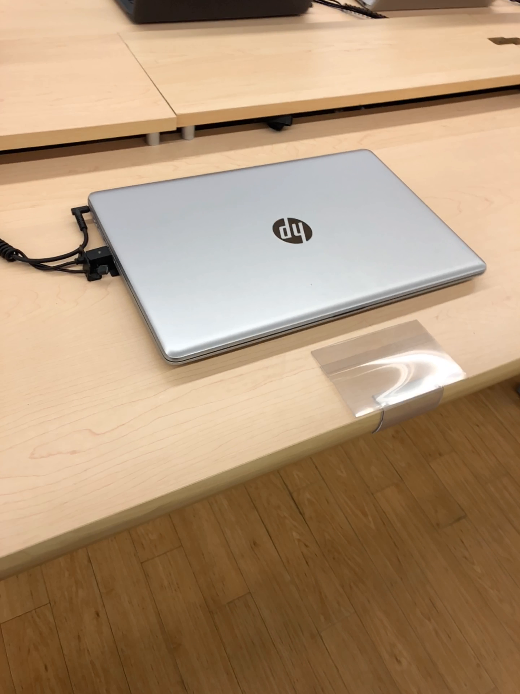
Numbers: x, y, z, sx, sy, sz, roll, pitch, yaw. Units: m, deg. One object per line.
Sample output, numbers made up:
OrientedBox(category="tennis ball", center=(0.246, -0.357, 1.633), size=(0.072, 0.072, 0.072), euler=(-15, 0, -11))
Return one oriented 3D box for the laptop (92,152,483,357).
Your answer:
OrientedBox(category="laptop", center=(0.035, -0.136, 0.681), size=(0.398, 0.001, 0.258), euler=(-17, 55, -23))
